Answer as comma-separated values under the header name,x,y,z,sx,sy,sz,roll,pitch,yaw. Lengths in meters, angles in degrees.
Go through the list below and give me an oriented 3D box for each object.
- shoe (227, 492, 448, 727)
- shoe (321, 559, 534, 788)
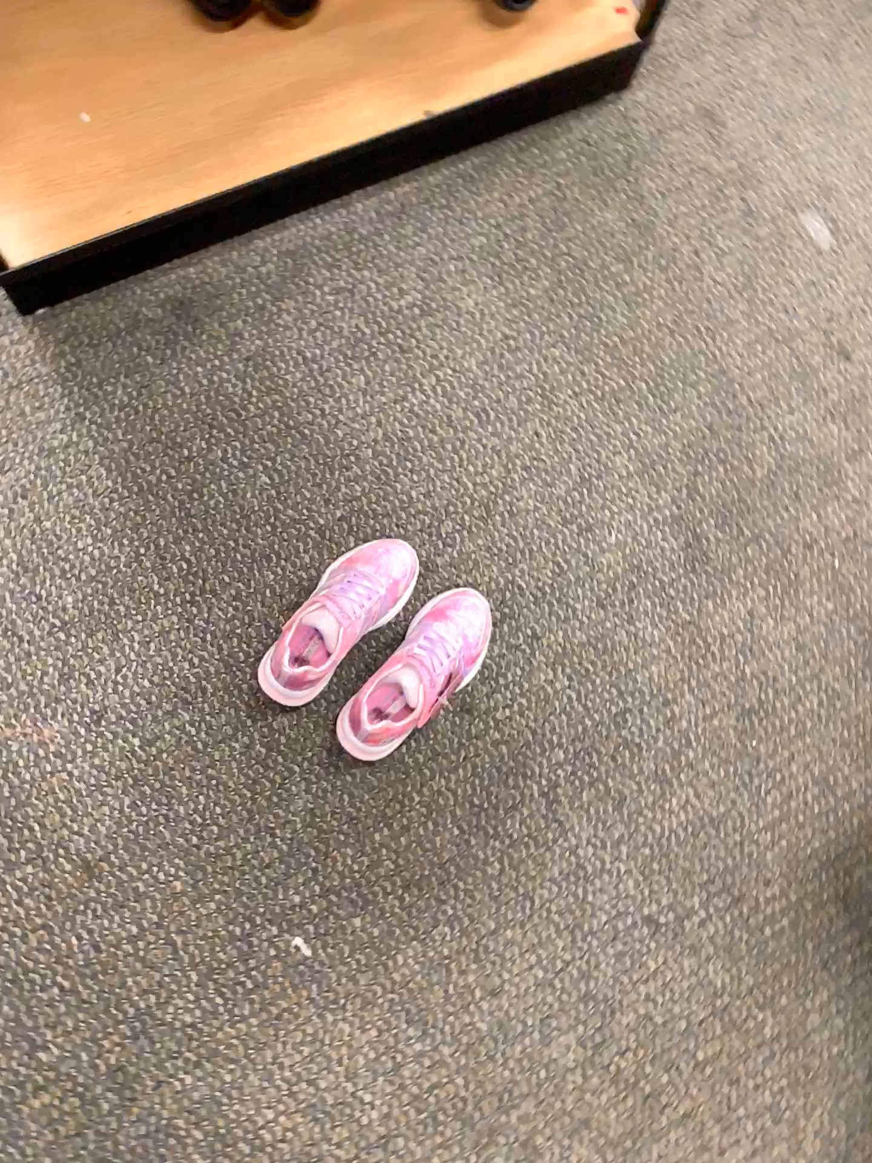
name,x,y,z,sx,sy,sz,roll,pitch,yaw
shoe,-0.092,0.030,0.853,0.086,0.110,0.200,40,76,3
shoe,-0.012,0.092,0.864,0.086,0.110,0.200,40,76,3
